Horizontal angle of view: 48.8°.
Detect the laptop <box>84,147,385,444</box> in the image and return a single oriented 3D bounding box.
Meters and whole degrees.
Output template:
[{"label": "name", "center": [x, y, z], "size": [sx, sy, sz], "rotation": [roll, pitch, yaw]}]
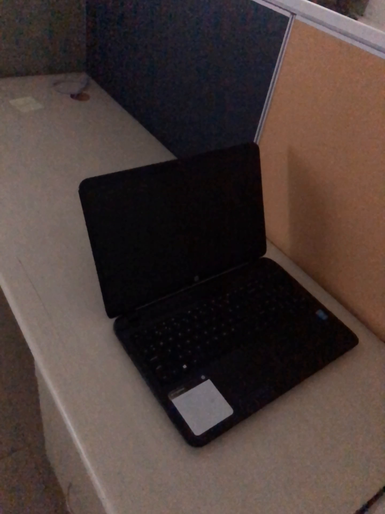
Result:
[{"label": "laptop", "center": [0.063, 0.021, 0.699], "size": [0.356, 0.205, 0.352], "rotation": [-20, 49, -30]}]
